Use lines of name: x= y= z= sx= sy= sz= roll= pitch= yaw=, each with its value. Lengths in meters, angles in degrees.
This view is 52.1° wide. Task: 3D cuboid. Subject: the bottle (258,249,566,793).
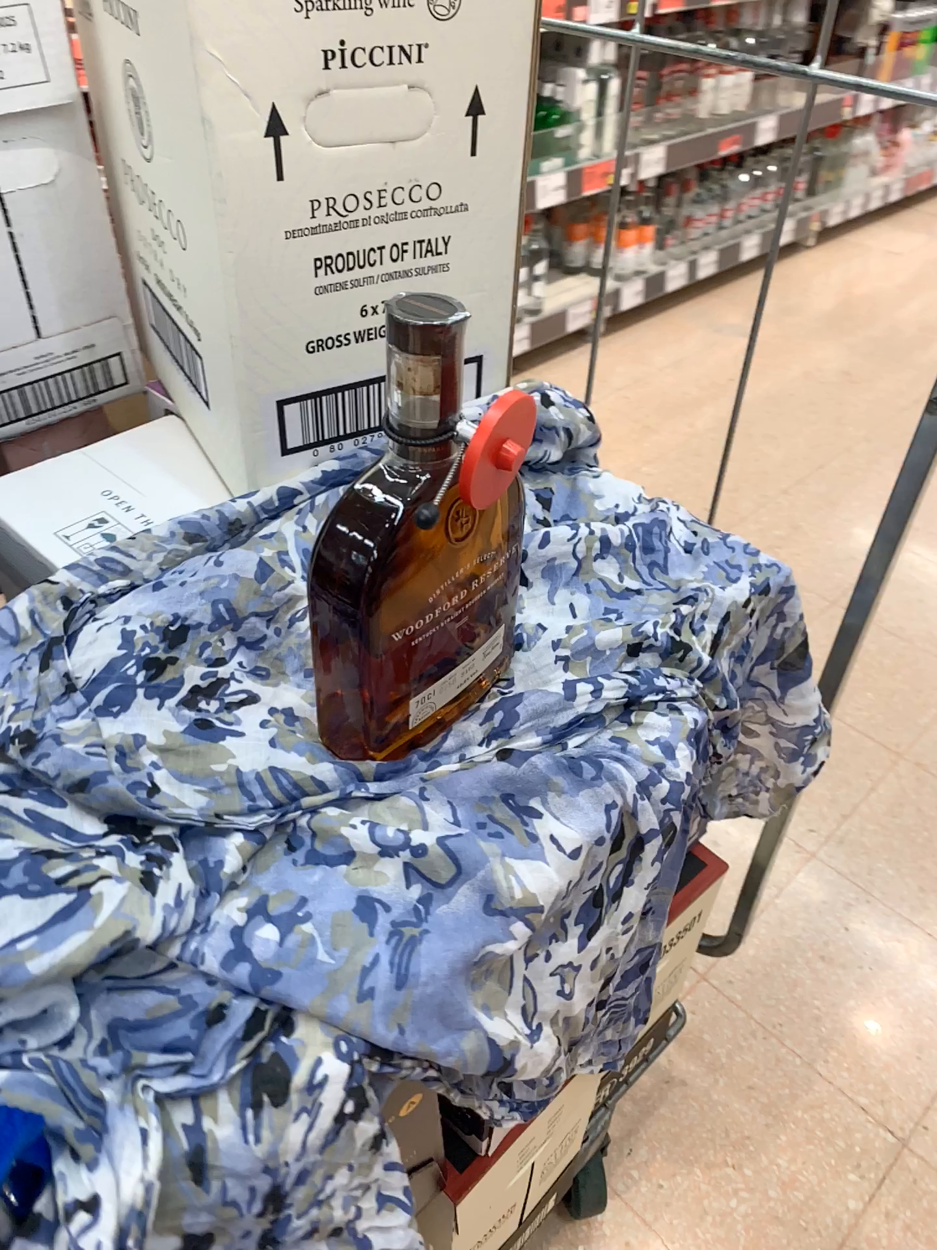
bottle: x=-0.020 y=-0.046 z=0.462 sx=0.051 sy=0.222 sz=0.134 roll=27 pitch=45 yaw=29
